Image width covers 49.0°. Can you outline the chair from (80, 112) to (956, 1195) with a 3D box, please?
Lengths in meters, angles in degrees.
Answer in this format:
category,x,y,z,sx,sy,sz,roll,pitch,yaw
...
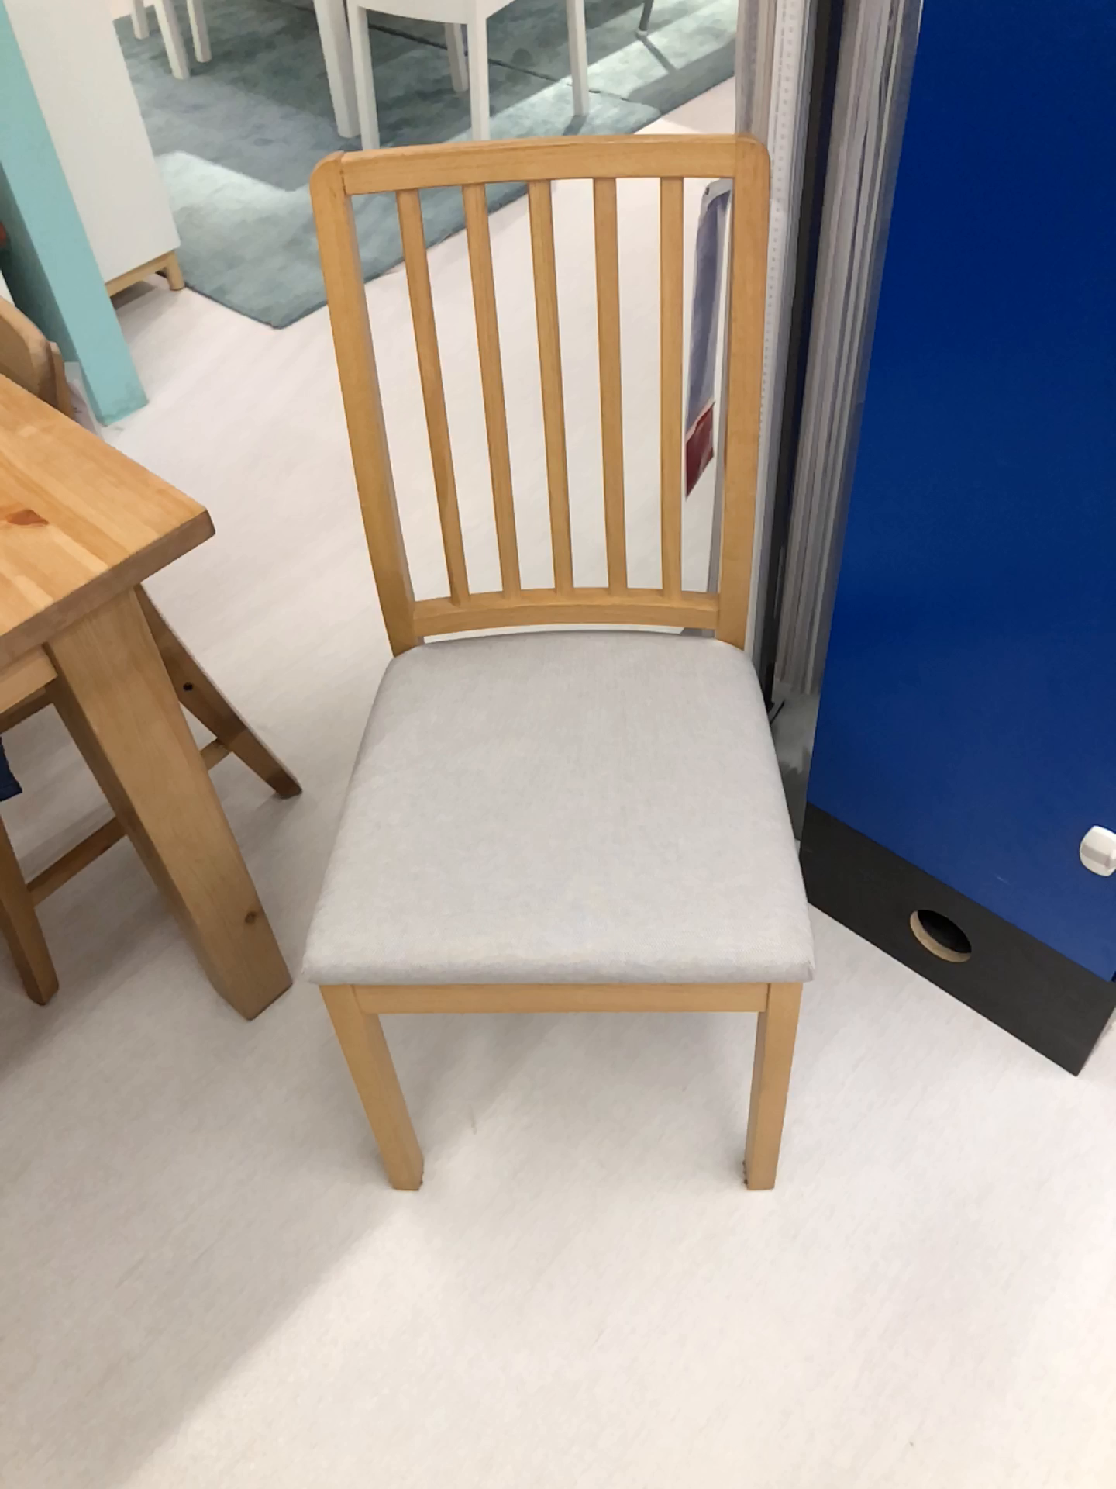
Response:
category,x,y,z,sx,sy,sz,roll,pitch,yaw
chair,0.009,-0.012,1.116,0.450,0.855,0.513,-1,49,4
